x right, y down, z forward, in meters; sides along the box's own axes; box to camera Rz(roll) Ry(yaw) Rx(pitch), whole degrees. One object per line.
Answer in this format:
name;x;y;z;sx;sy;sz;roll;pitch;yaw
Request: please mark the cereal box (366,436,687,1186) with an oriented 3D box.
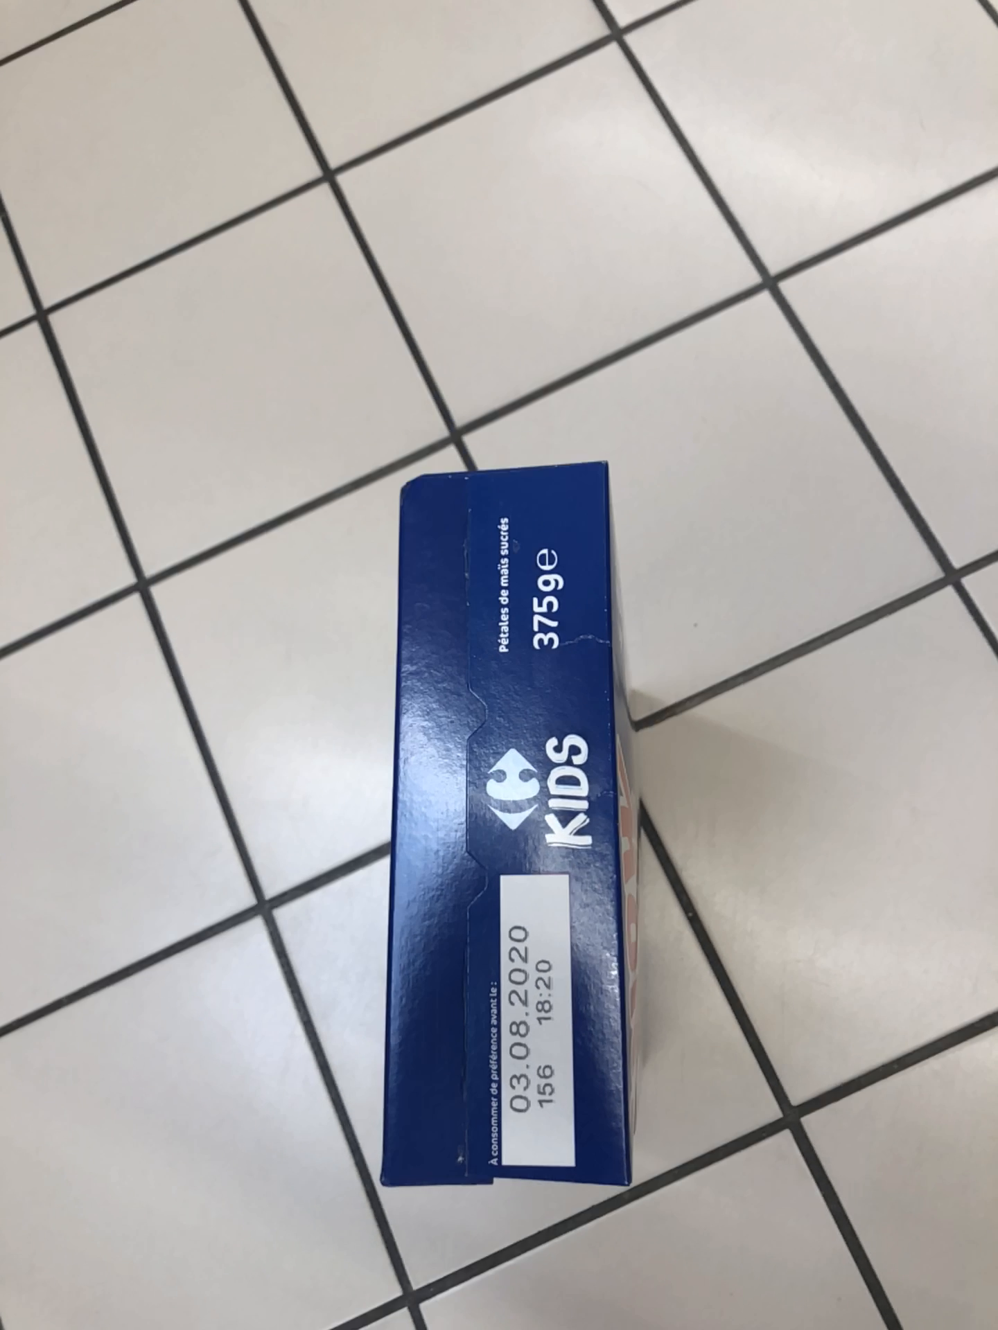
cereal box;0.025;0.068;0.439;0.080;0.290;0.200;-2;75;7
